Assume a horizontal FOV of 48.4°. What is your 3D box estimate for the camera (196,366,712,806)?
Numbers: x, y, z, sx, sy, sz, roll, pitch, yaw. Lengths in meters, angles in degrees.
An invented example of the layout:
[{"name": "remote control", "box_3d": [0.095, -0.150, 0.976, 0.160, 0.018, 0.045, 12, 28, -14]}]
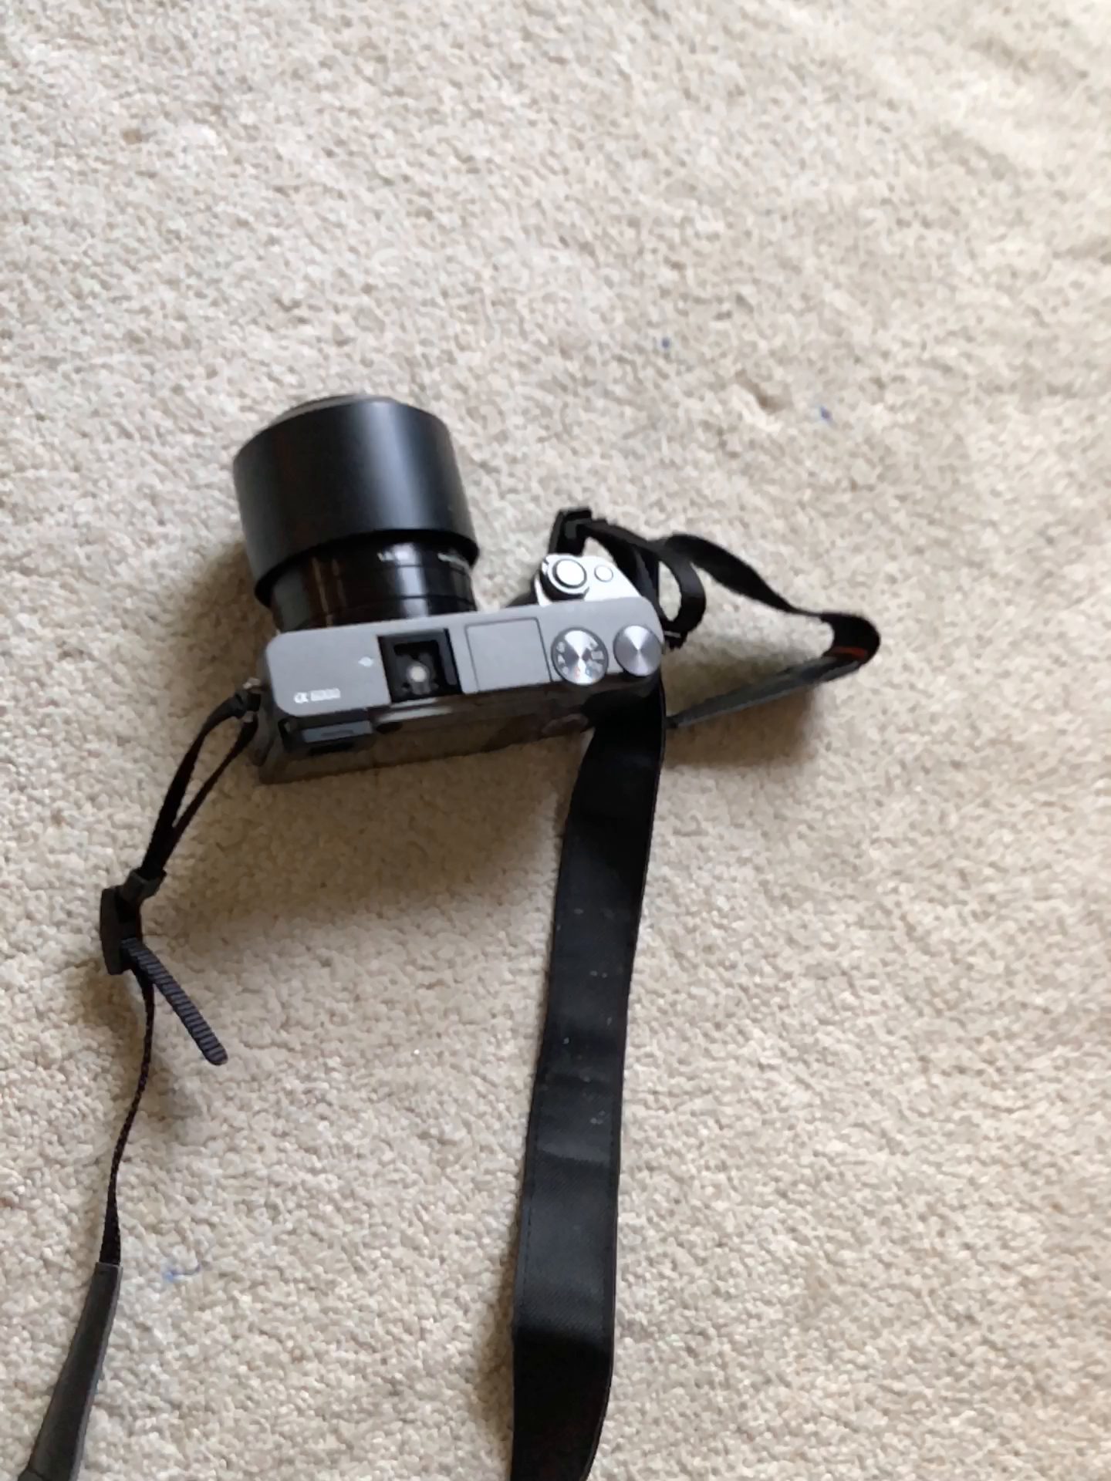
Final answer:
[{"name": "camera", "box_3d": [-0.034, -0.046, 0.367, 0.120, 0.070, 0.100, -9, 79, -23]}]
